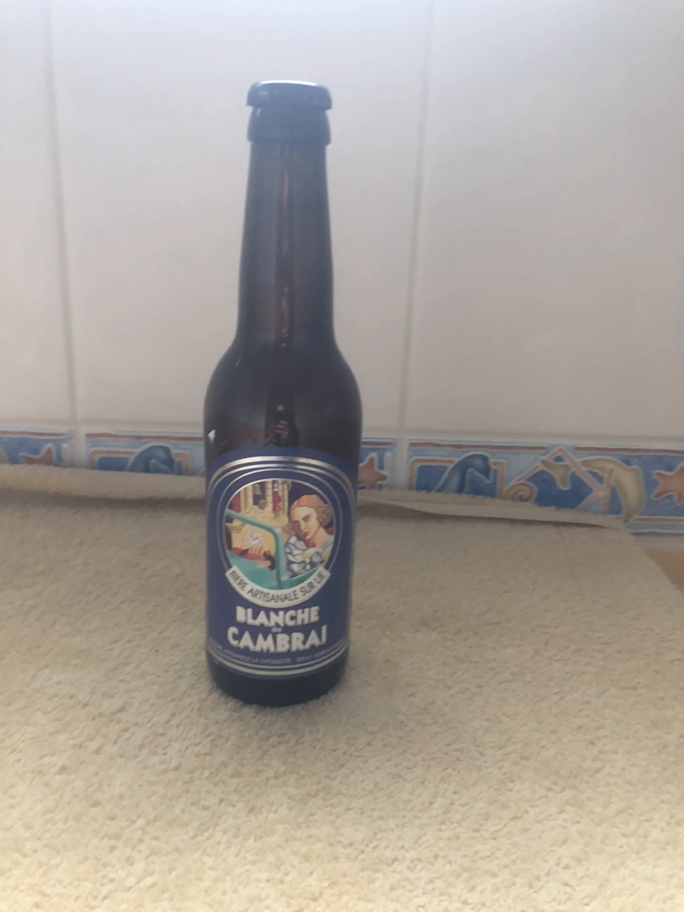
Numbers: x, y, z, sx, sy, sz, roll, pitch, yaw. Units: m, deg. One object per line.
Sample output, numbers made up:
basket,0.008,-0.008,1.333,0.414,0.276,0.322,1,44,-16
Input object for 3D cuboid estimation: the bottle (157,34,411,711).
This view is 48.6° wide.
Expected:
bottle,-0.022,-0.022,0.277,0.070,0.219,0.070,2,18,-1
